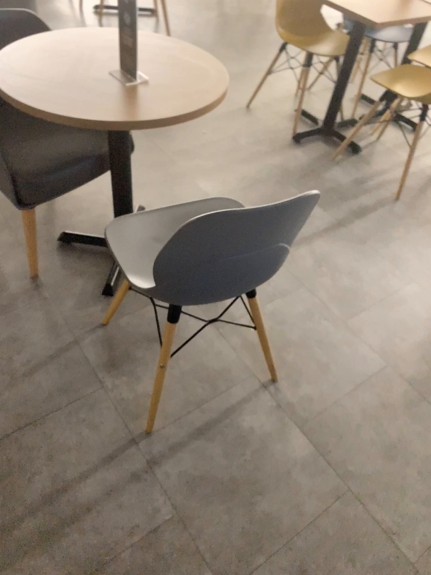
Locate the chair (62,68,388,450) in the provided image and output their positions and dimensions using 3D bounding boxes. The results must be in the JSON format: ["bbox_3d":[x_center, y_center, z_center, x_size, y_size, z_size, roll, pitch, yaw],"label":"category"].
[{"bbox_3d":[-0.042,-0.061,1.220,0.506,0.802,0.523,-17,51,-22],"label":"chair"}]

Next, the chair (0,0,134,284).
[{"bbox_3d":[-0.700,-0.549,1.680,0.511,0.753,0.558,34,51,22],"label":"chair"}]
